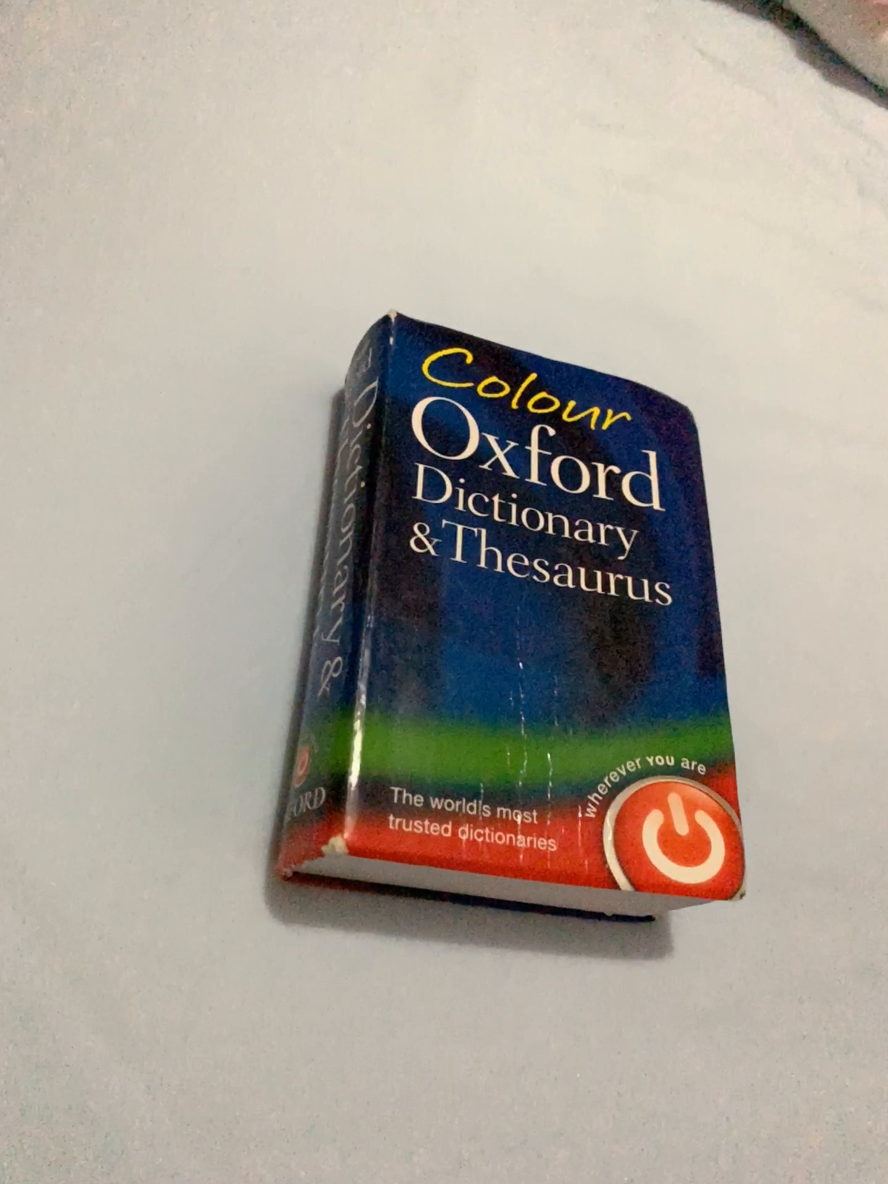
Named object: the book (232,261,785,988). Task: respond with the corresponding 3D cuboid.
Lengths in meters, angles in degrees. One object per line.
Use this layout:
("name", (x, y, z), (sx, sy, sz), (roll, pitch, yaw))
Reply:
("book", (0.019, 0.005, 0.252), (0.120, 0.040, 0.181), (10, 62, -12))
